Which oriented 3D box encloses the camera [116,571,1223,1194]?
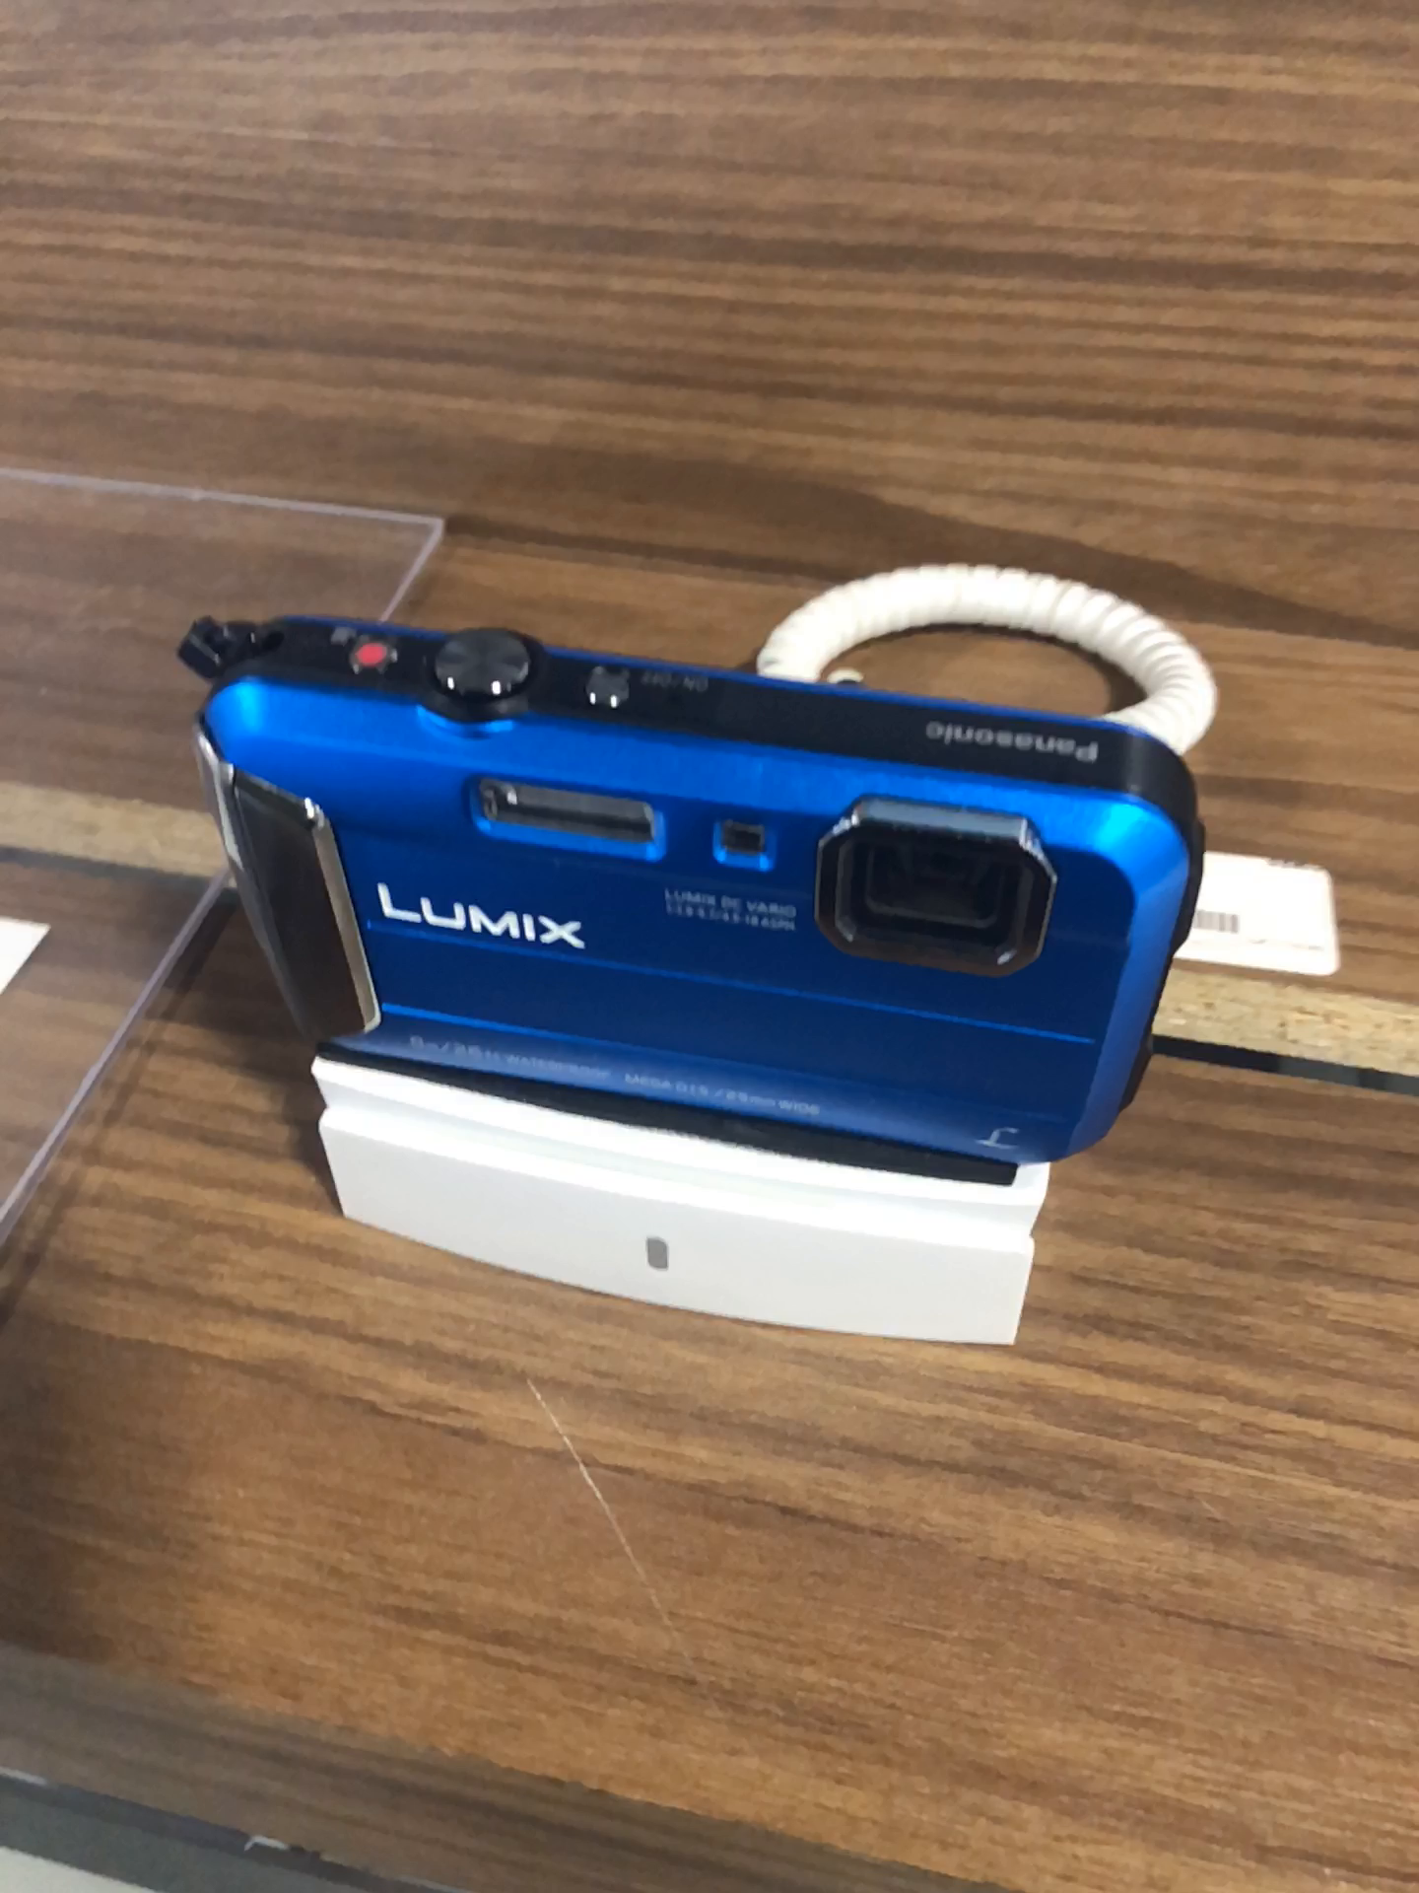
[{"bbox_3d":[-0.003,-0.006,0.167,0.100,0.051,0.023,9,50,9],"label":"camera"}]
